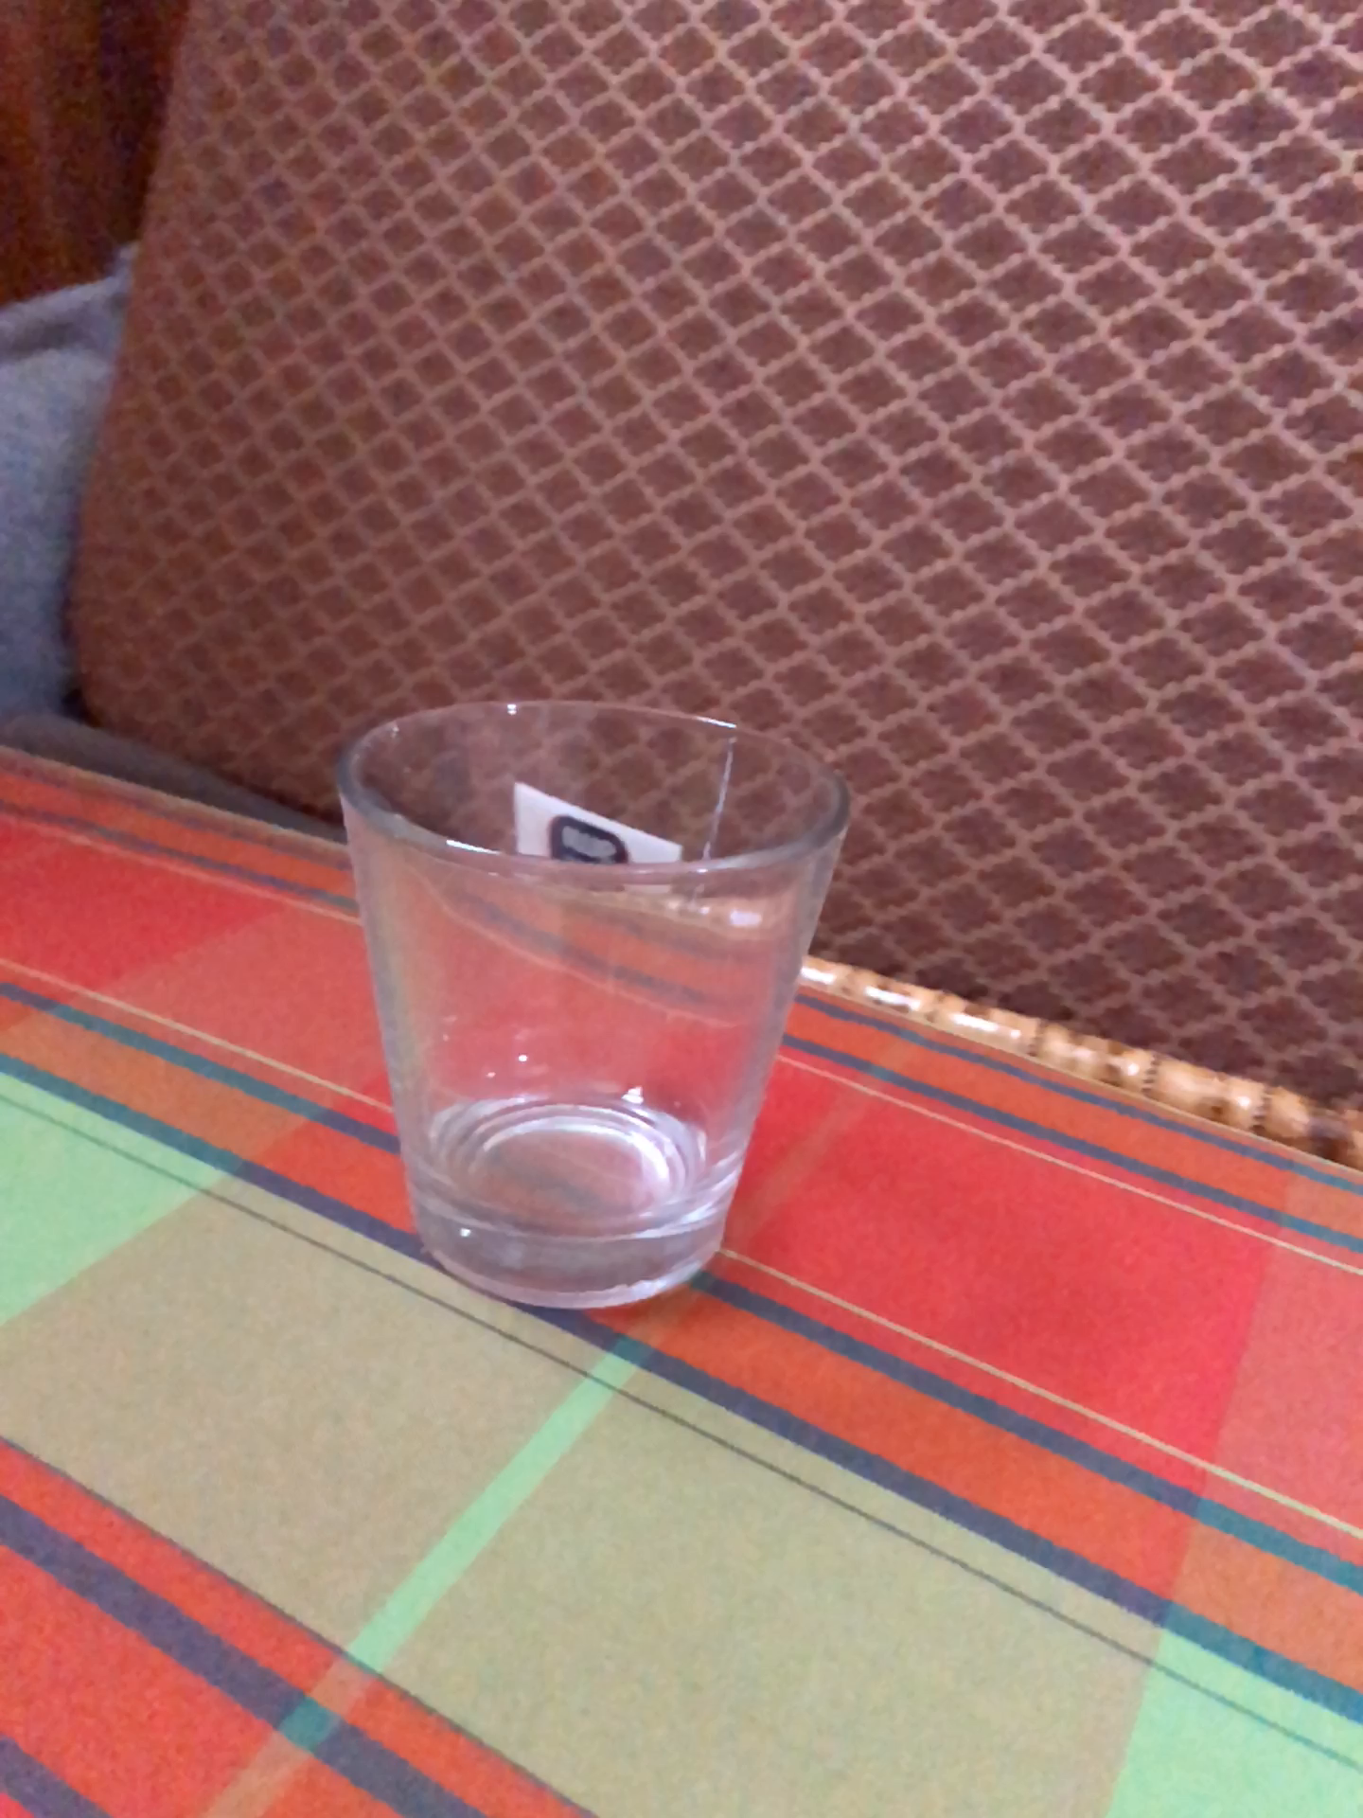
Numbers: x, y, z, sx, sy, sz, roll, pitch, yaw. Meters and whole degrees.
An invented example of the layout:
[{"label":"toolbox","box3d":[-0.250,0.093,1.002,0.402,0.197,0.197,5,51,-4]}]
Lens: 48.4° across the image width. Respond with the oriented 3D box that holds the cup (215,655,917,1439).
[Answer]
[{"label":"cup","box3d":[-0.019,0.015,0.259,0.080,0.090,0.080,4,23,-2]}]
